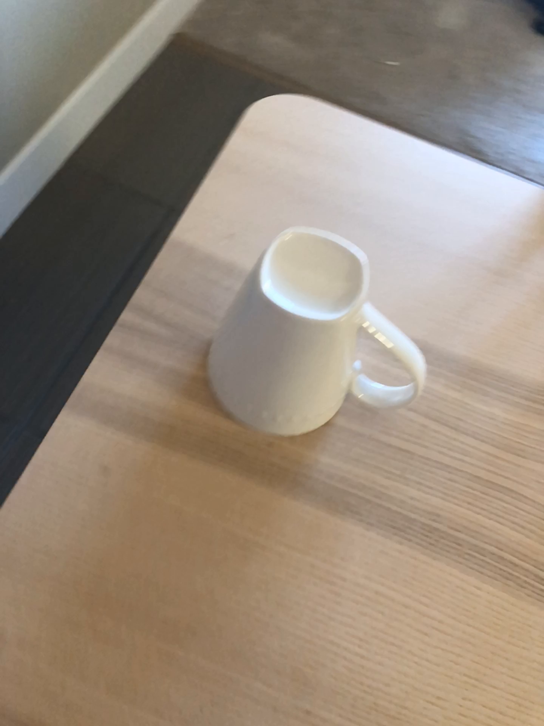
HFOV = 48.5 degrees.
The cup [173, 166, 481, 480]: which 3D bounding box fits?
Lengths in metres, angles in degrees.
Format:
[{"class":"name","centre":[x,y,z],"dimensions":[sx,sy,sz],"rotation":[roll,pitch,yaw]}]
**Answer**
[{"class":"cup","centre":[0.027,-0.017,0.358],"dimensions":[0.140,0.120,0.100],"rotation":[17,58,-1]}]
